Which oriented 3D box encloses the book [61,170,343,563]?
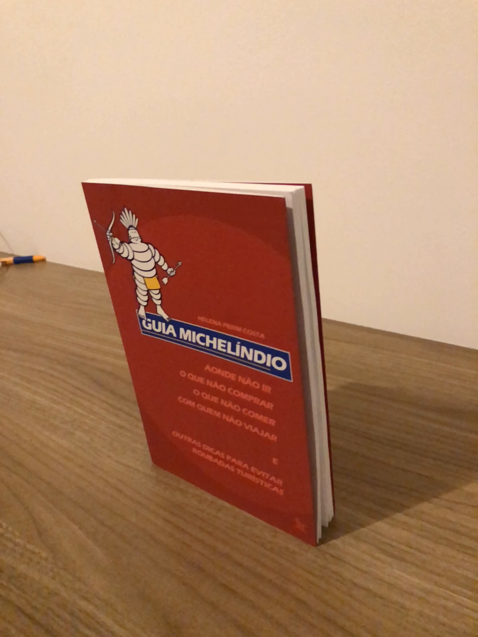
[{"bbox_3d":[-0.018,0.027,0.306,0.151,0.218,0.020,12,34,36],"label":"book"}]
